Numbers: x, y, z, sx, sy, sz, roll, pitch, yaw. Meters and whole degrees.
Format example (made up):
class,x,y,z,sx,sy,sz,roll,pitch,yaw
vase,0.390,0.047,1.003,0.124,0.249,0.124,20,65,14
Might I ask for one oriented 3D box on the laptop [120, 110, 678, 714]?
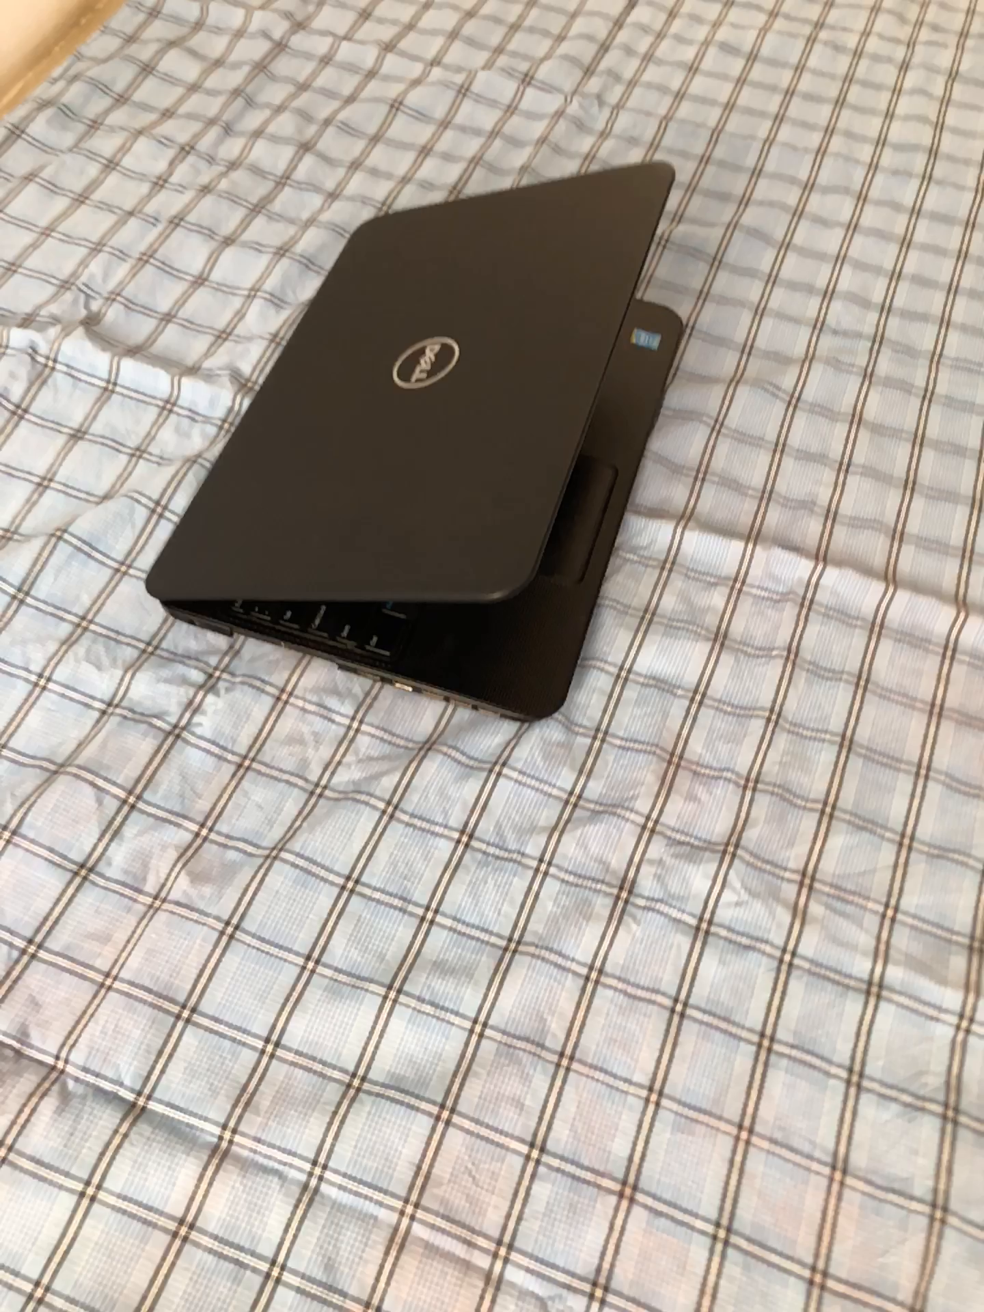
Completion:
class,x,y,z,sx,sy,sz,roll,pitch,yaw
laptop,-0.034,-0.168,0.667,0.223,0.099,0.352,16,58,5
